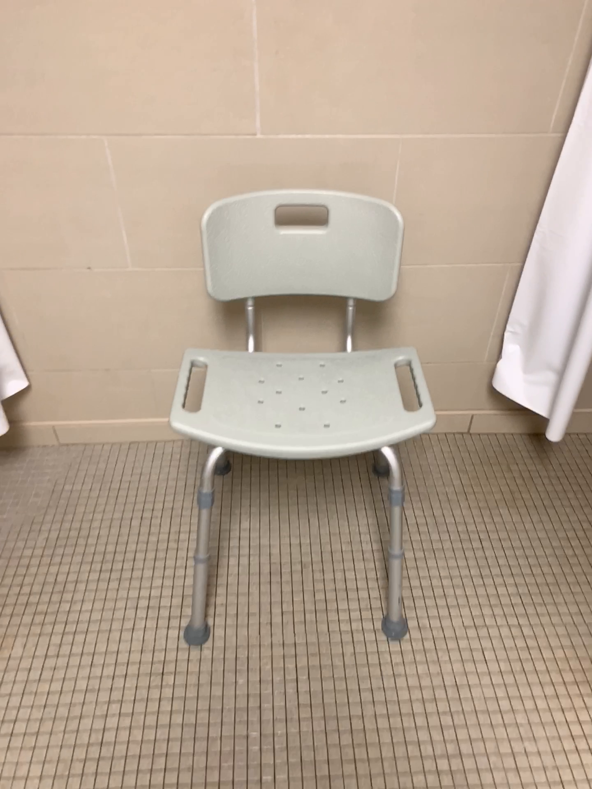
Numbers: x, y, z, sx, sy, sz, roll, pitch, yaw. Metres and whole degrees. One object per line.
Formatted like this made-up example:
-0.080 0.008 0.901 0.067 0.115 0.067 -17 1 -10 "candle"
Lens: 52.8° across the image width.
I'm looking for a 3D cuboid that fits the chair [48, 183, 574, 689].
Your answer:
0.018 0.105 1.070 0.549 0.745 0.524 -2 44 0 "chair"
